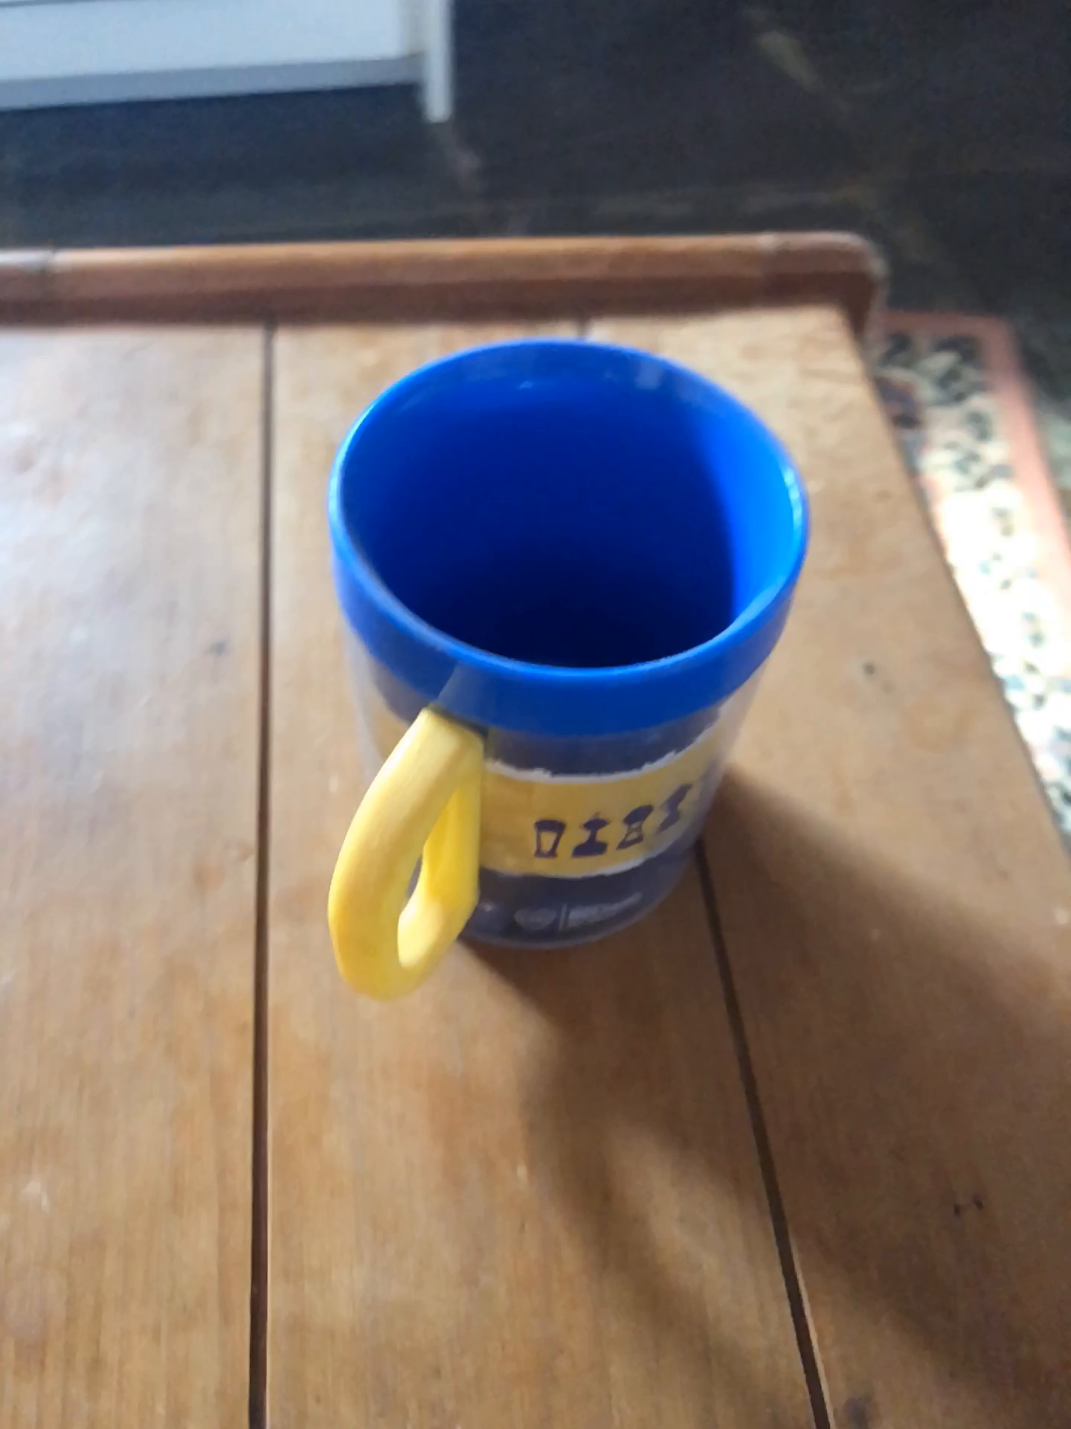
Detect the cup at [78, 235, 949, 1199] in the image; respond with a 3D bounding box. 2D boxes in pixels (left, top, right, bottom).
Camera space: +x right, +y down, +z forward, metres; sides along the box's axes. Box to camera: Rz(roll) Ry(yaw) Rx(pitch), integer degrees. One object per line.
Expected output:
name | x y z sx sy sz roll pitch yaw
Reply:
cup | 0.002 0.001 0.231 0.090 0.109 0.121 24 56 13
